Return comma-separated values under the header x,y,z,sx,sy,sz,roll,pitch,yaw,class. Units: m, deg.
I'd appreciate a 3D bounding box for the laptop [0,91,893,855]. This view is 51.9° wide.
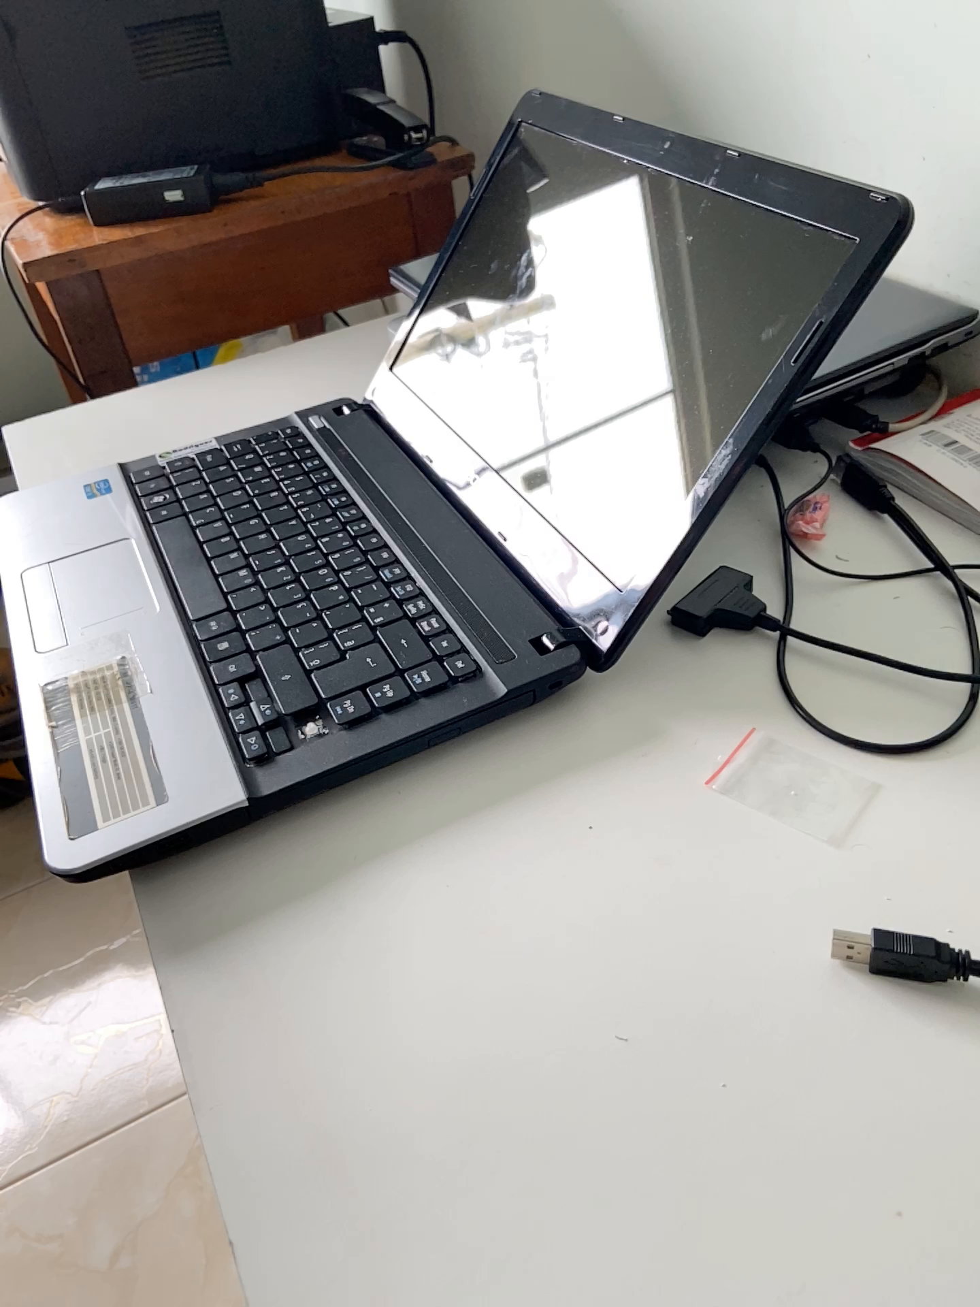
x,y,z,sx,sy,sz,roll,pitch,yaw,class
-0.076,-0.142,0.527,0.396,0.163,0.334,-21,41,-16,laptop
